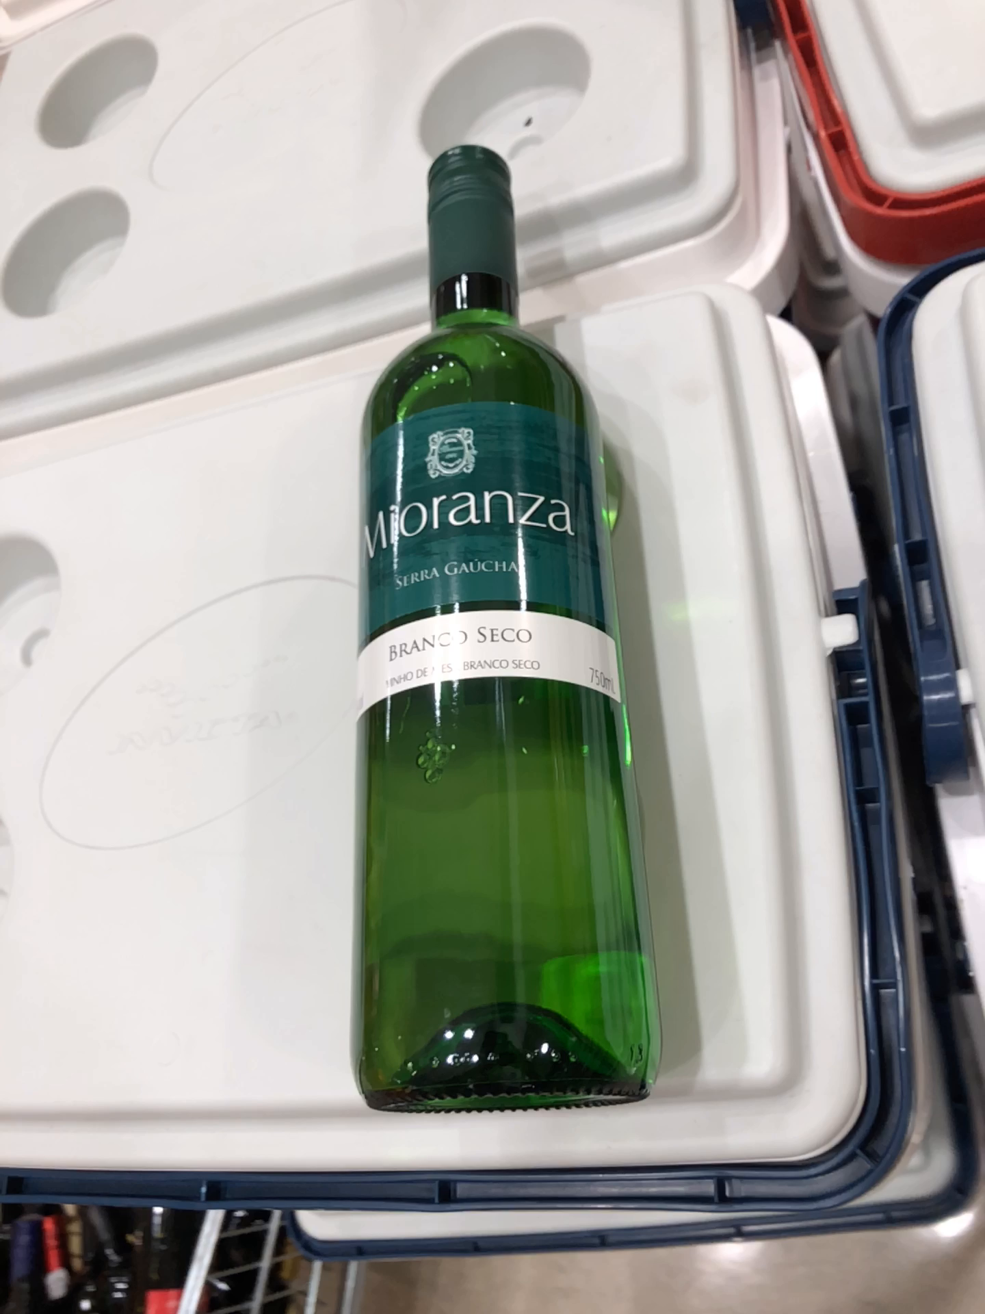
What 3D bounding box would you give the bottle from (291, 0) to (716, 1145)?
[{"bbox_3d":[0.001,-0.049,0.341,0.080,0.070,0.361,-12,62,20],"label":"bottle"}]
